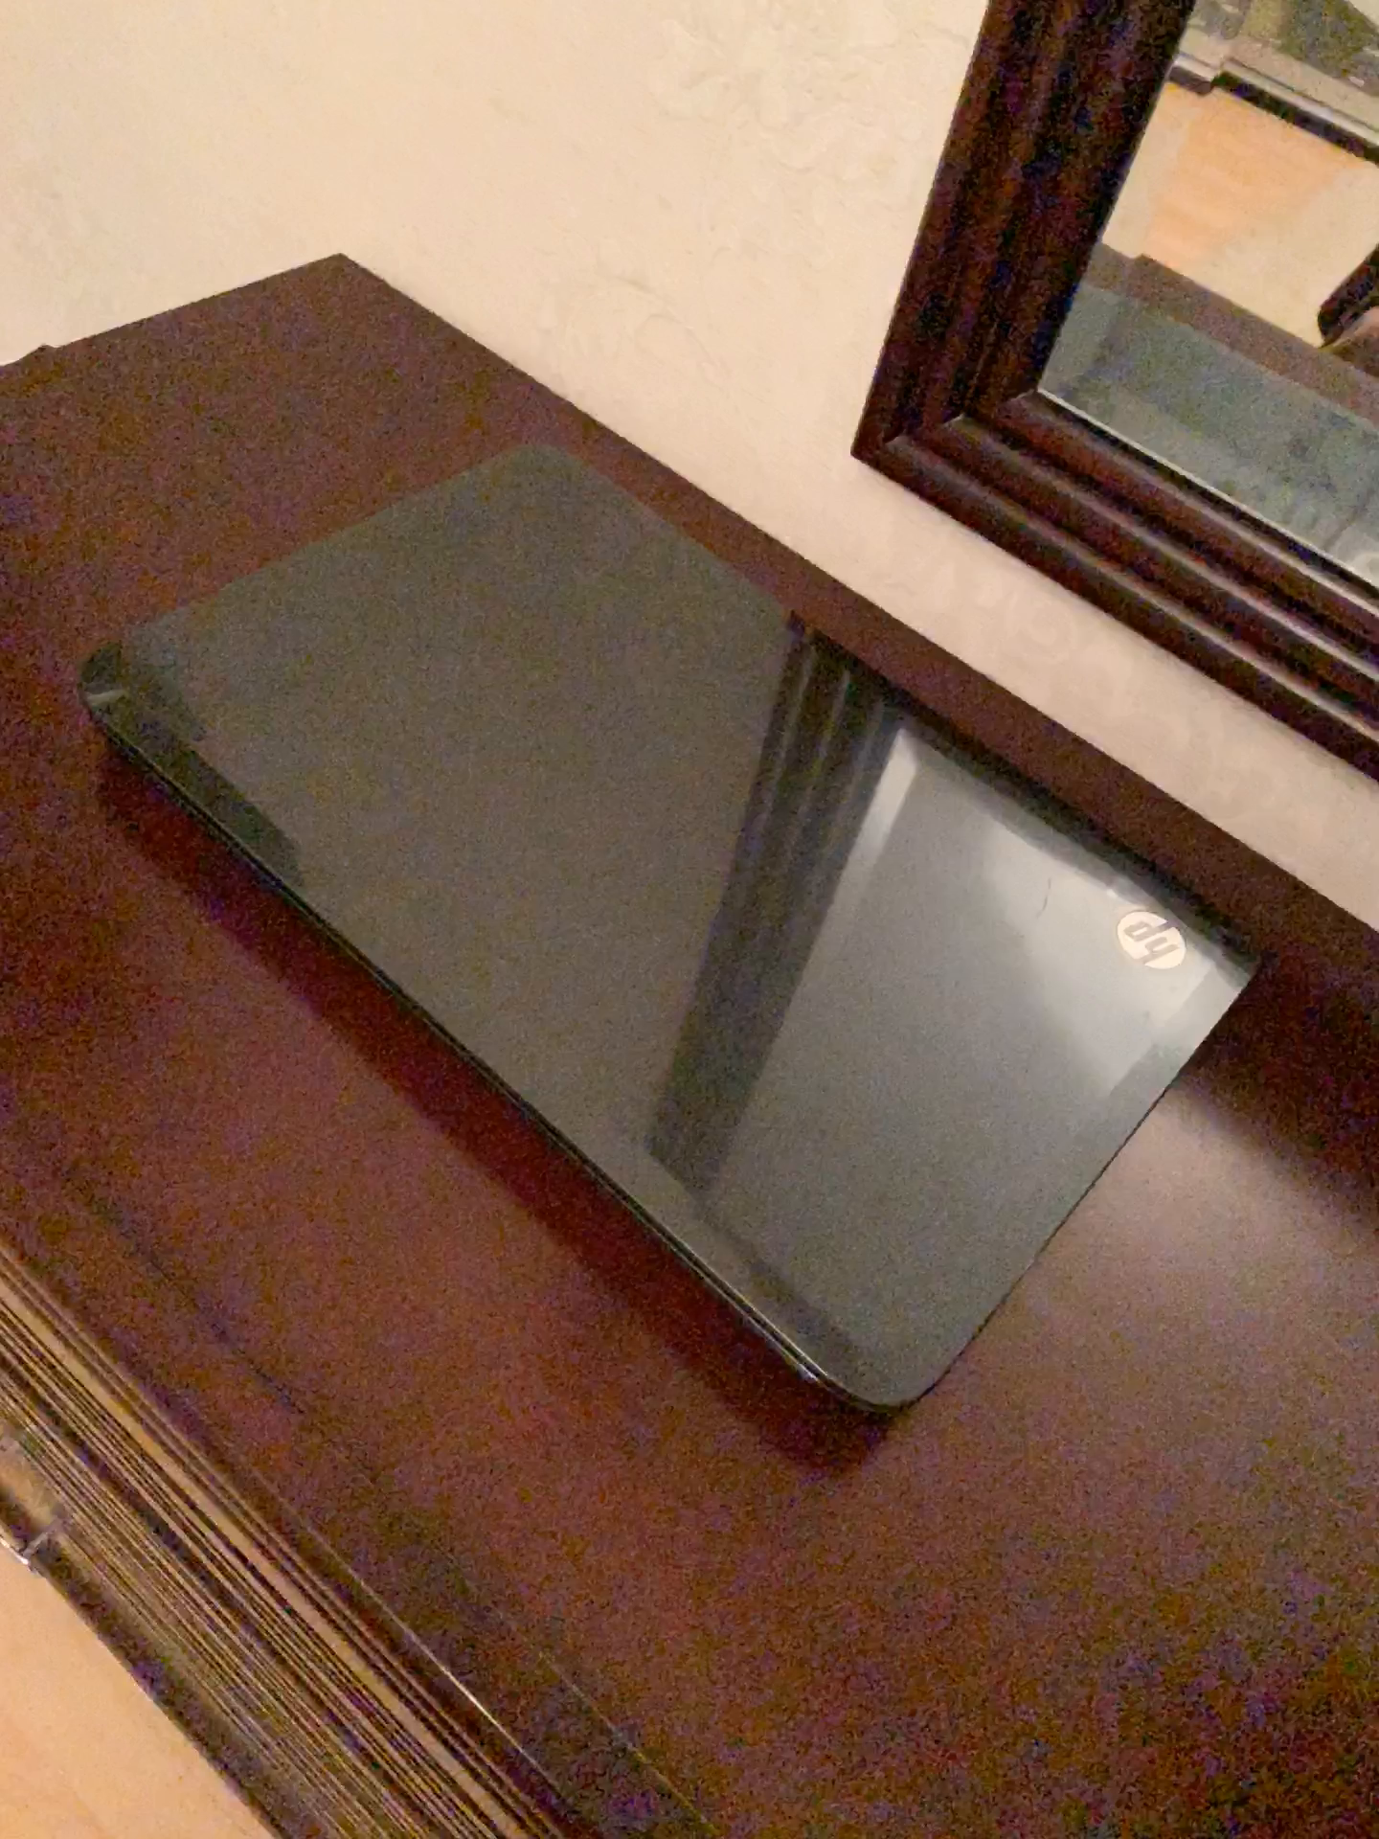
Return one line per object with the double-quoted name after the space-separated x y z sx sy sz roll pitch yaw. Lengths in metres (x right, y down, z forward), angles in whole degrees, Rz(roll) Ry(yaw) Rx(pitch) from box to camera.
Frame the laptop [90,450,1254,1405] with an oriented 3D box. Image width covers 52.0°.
-0.002 -0.035 0.485 0.345 0.003 0.222 40 55 17 "laptop"
